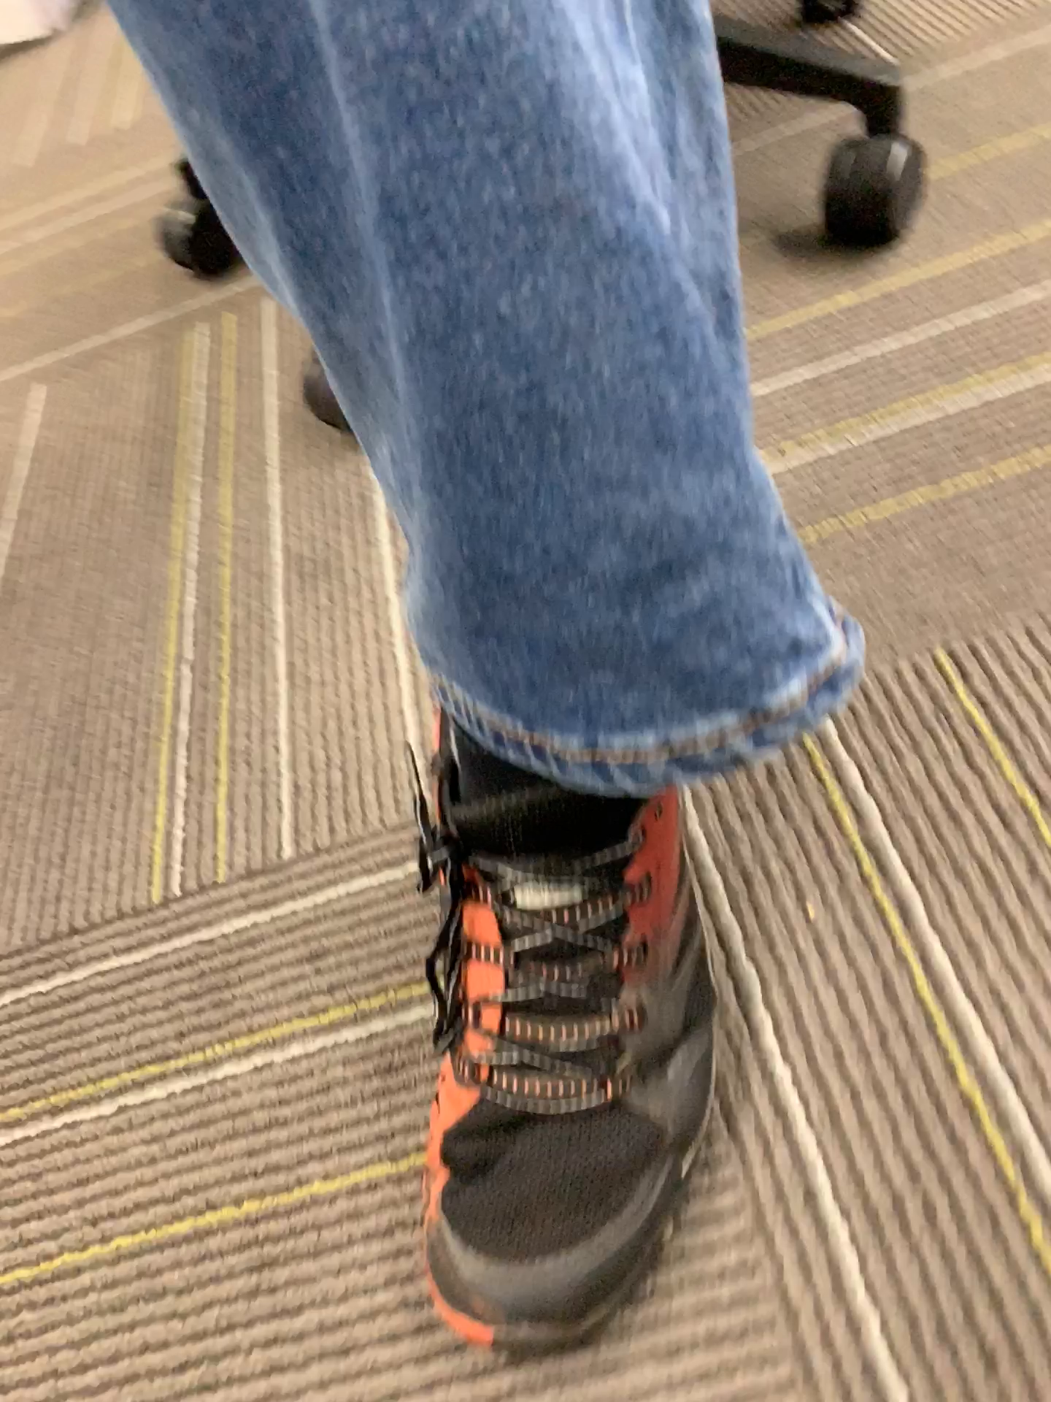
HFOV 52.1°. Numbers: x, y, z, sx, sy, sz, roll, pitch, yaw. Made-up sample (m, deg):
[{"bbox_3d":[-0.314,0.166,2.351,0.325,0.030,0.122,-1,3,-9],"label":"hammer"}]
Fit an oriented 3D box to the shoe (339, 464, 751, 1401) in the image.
[{"bbox_3d":[0.020,0.074,0.432,0.126,0.106,0.315,2,80,12],"label":"shoe"}]
